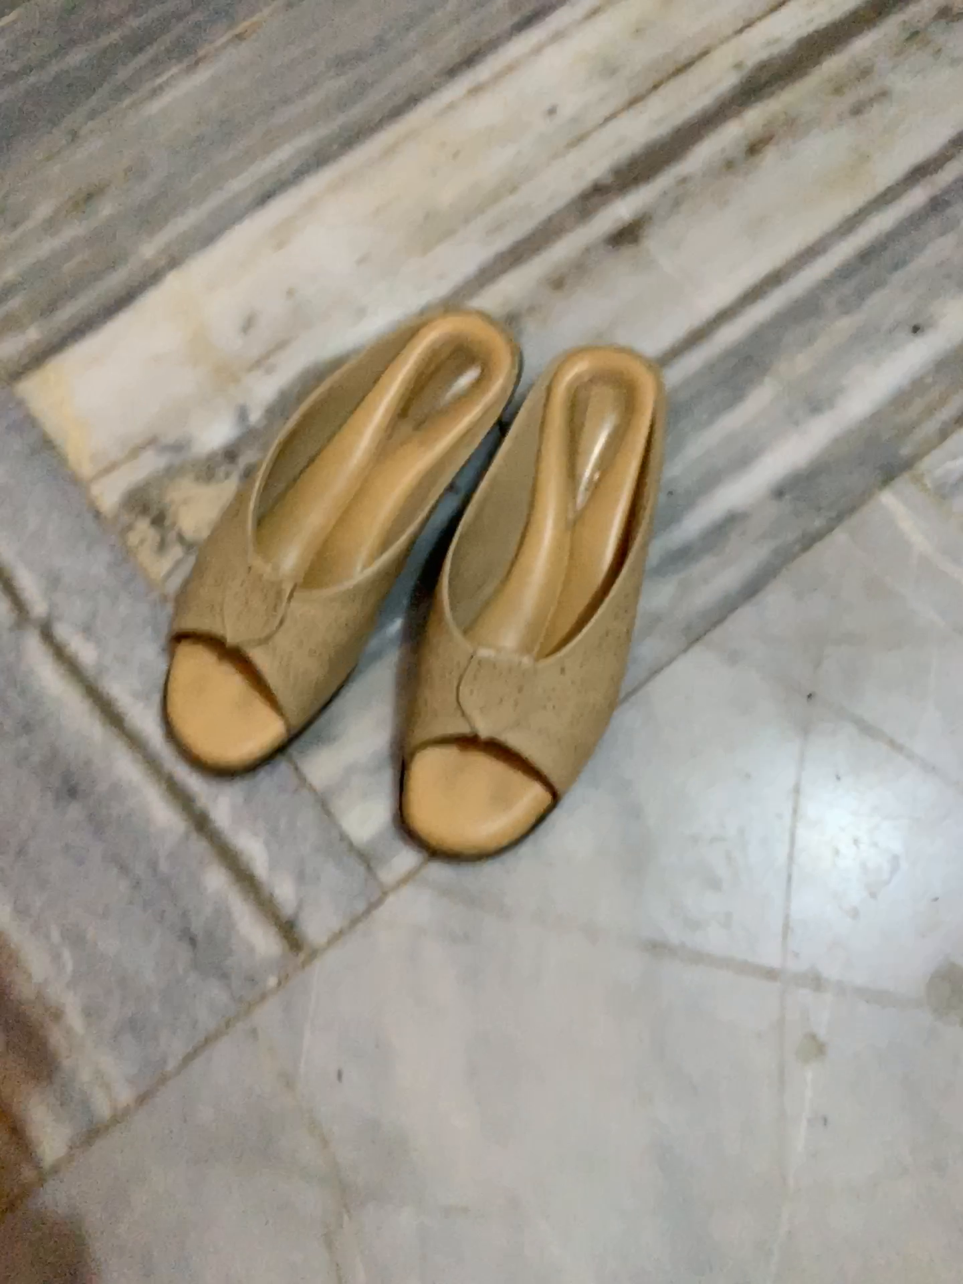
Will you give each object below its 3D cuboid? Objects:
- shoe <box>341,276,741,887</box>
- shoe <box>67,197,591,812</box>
[{"bbox_3d":[0.032,-0.029,0.467,0.095,0.070,0.259,18,76,7],"label":"shoe"},{"bbox_3d":[-0.061,-0.066,0.474,0.095,0.070,0.273,30,78,10],"label":"shoe"}]
